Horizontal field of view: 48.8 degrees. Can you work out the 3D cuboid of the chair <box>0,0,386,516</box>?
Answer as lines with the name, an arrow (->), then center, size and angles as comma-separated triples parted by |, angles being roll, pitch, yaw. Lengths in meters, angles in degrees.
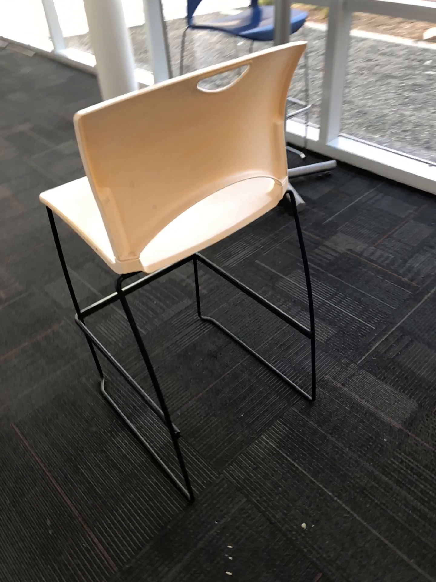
chair -> -0.126, -0.108, 1.255 | 0.581, 0.995, 0.723 | -31, 47, -27
